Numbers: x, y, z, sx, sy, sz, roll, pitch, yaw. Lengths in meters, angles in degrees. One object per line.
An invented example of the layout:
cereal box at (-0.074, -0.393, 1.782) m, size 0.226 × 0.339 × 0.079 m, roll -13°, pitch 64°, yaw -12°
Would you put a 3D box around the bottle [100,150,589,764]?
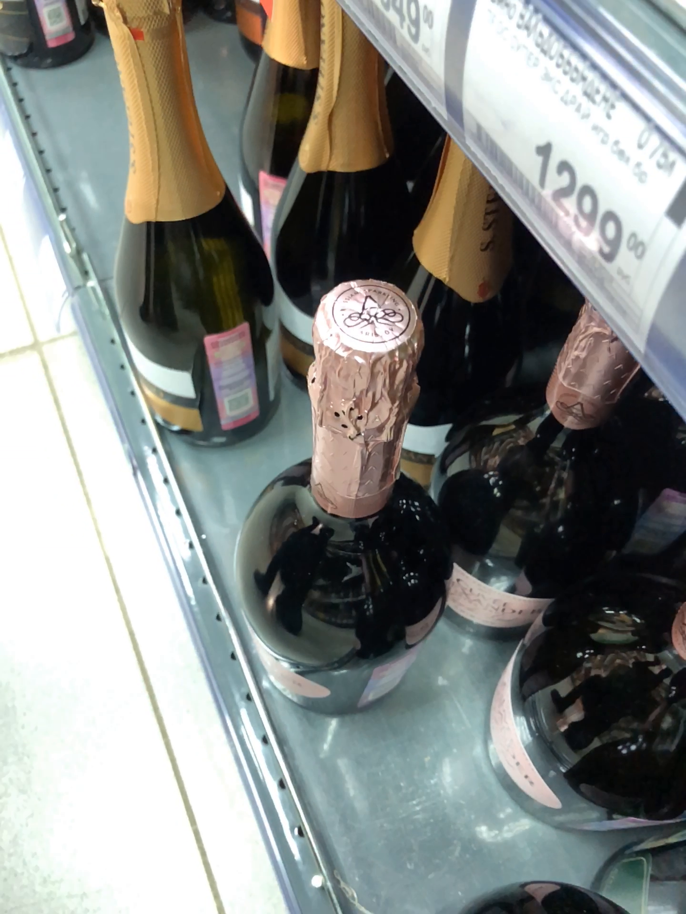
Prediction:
bottle at (-0.008, 0.034, 0.327) m, size 0.090 × 0.279 × 0.110 m, roll -25°, pitch 63°, yaw -16°
